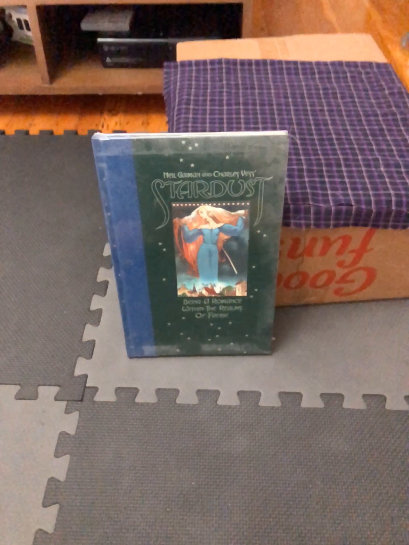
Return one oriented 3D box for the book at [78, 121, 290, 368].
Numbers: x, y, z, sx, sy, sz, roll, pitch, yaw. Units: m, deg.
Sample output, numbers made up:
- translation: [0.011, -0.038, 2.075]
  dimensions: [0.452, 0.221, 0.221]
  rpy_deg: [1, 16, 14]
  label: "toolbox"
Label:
- translation: [-0.014, -0.010, 0.548]
  dimensions: [0.210, 0.328, 0.020]
  rpy_deg: [-2, 34, 1]
  label: "book"
